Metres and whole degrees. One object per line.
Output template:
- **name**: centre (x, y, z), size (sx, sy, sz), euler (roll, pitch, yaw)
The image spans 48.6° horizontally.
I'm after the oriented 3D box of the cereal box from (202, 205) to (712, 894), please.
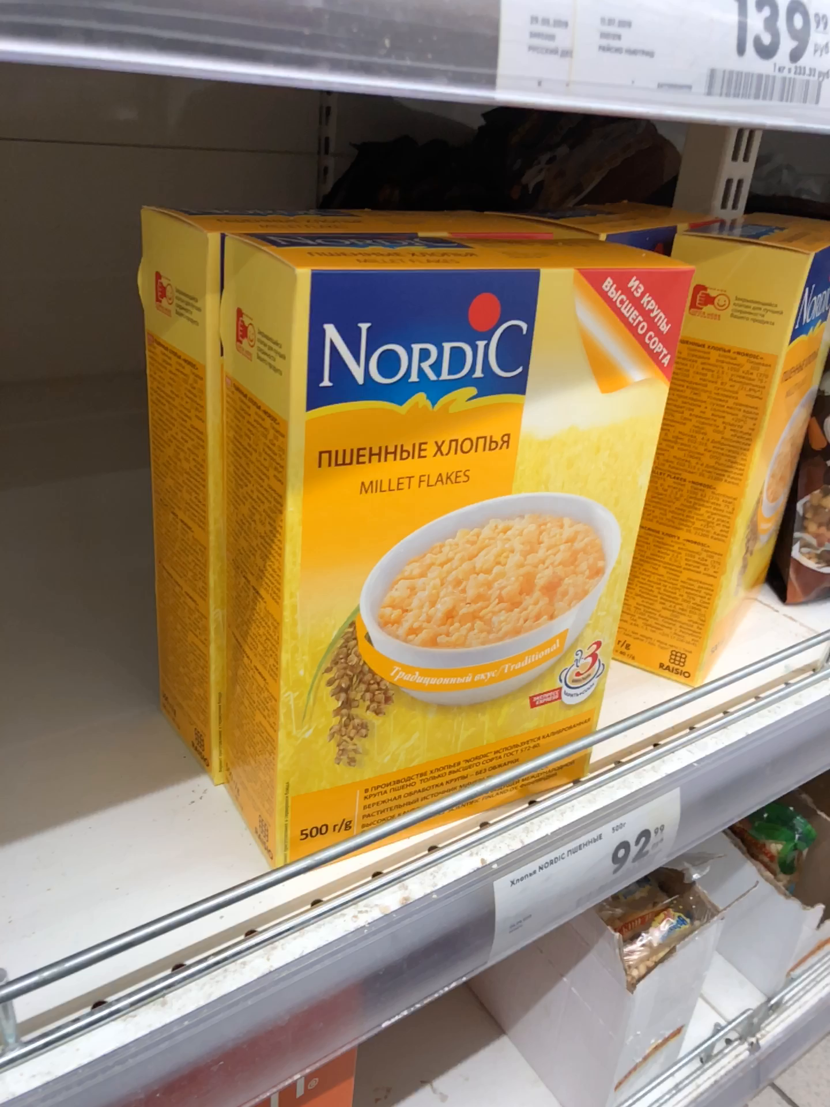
- **cereal box**: centre (0.006, -0.003, 0.316), size (0.140, 0.209, 0.060), euler (-9, 29, -27)
